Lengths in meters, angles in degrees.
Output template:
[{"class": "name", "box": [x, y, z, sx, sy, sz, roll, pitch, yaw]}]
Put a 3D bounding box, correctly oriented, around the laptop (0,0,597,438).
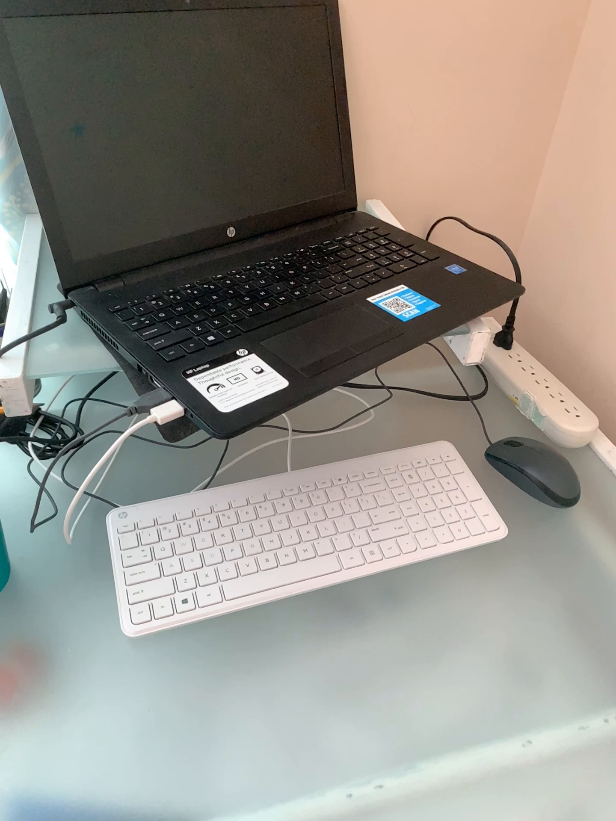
[{"class": "laptop", "box": [-0.018, -0.213, 0.551, 0.365, 0.222, 0.308, -26, 47, -33]}]
